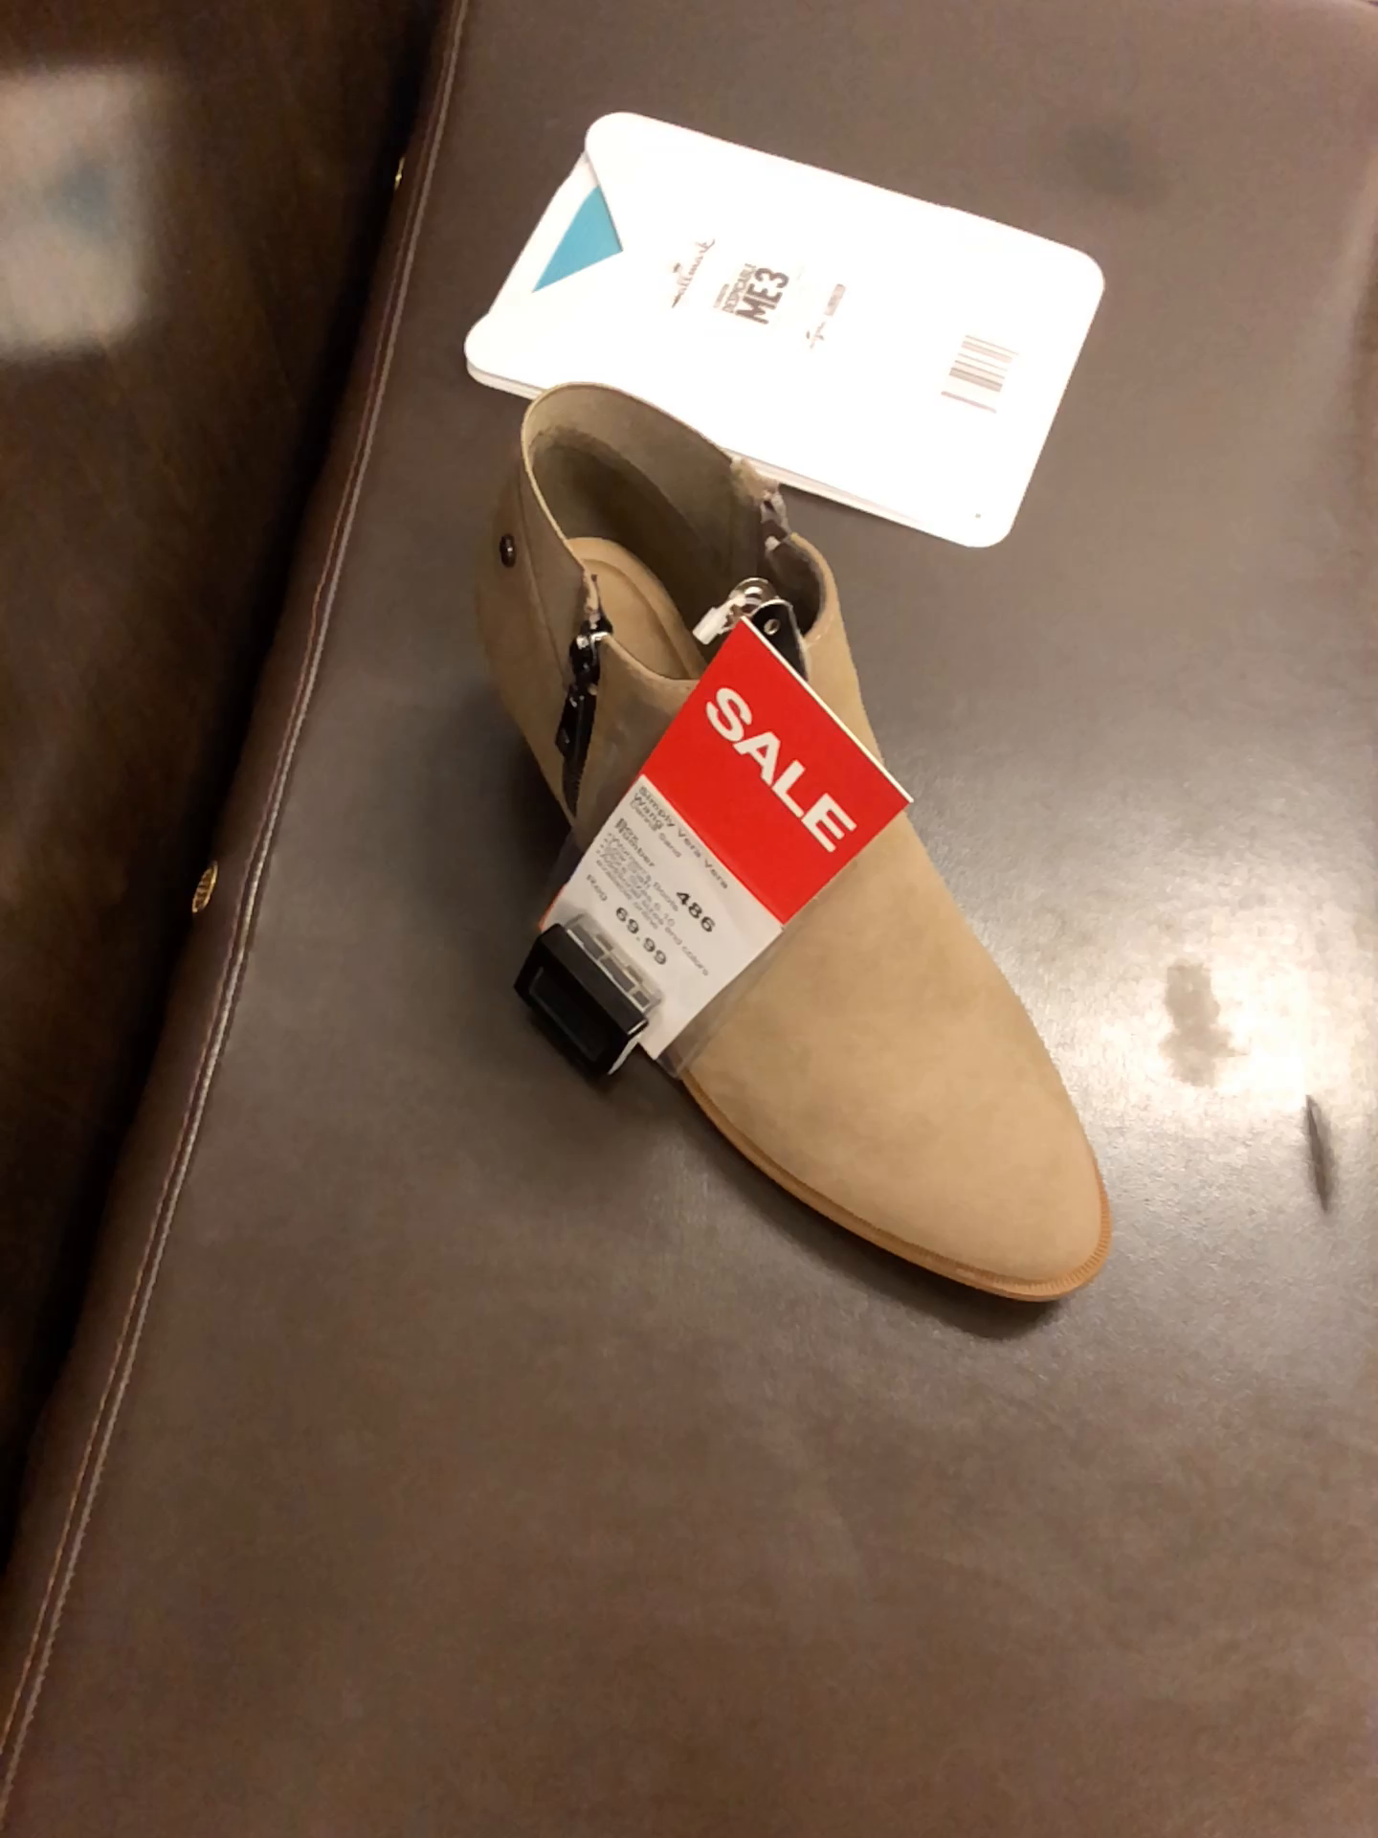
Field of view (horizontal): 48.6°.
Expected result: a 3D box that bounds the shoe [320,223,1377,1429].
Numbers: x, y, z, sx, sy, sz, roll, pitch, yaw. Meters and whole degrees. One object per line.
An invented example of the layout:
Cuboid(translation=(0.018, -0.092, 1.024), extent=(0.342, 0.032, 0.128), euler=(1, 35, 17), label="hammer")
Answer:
Cuboid(translation=(0.028, -0.022, 0.380), extent=(0.097, 0.133, 0.260), euler=(-32, 69, -14), label="shoe")
